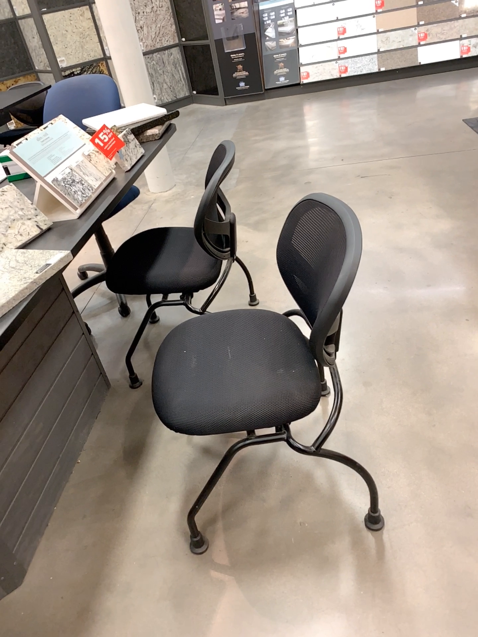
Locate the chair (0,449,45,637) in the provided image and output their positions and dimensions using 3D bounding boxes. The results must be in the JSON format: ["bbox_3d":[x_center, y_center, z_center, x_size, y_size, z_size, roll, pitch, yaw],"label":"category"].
[{"bbox_3d":[-0.798,0.815,0.524,0.705,0.886,0.647,-27,37,-24],"label":"chair"}]

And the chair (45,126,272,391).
[{"bbox_3d":[-0.219,-0.228,1.901,0.584,0.777,0.597,-5,35,9],"label":"chair"}]

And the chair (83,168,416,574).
[{"bbox_3d":[0.045,0.127,1.314,0.594,0.777,0.607,-12,34,-1],"label":"chair"}]
